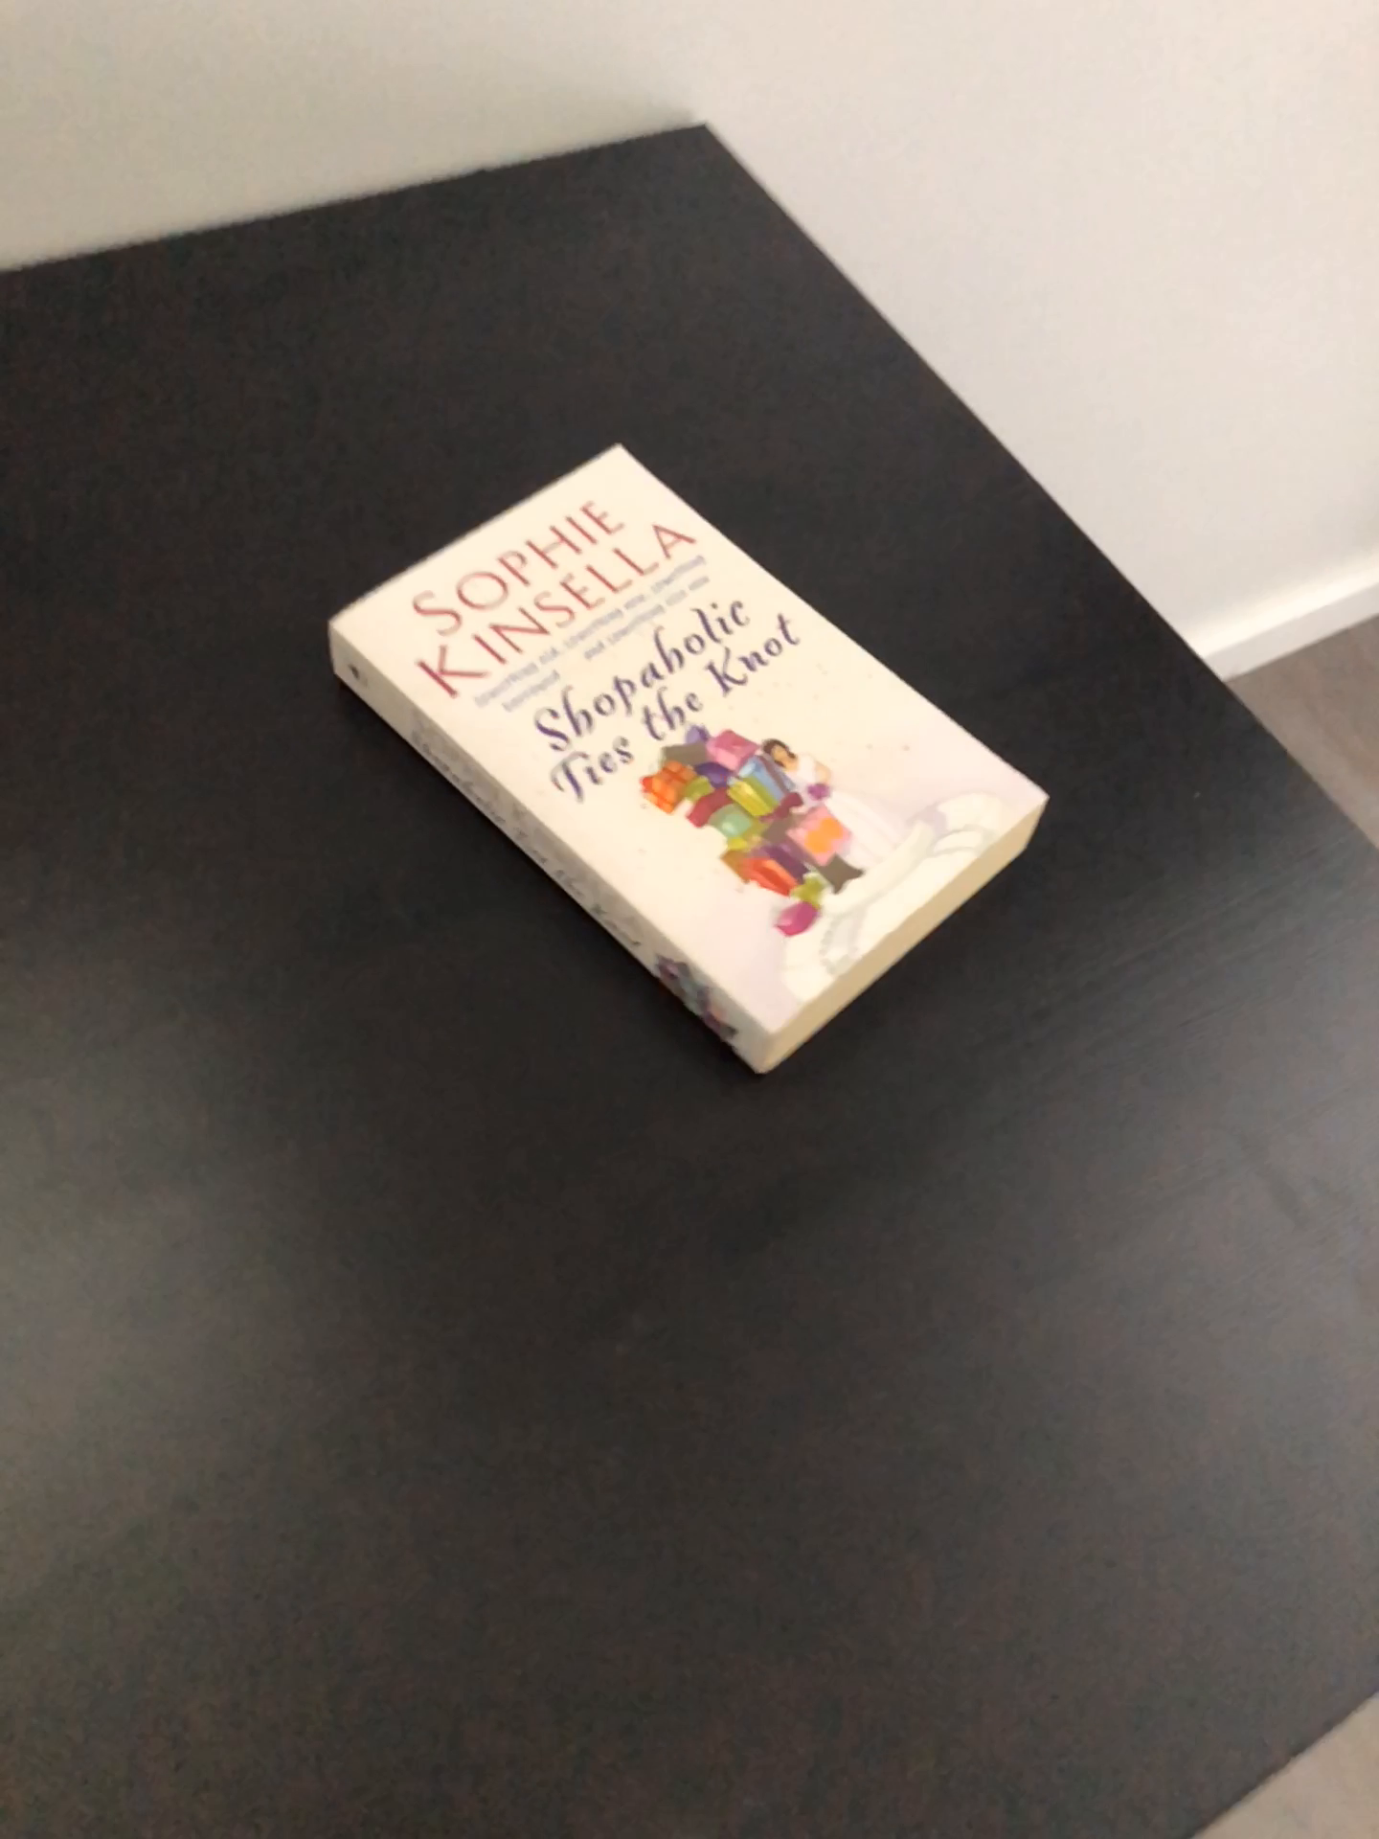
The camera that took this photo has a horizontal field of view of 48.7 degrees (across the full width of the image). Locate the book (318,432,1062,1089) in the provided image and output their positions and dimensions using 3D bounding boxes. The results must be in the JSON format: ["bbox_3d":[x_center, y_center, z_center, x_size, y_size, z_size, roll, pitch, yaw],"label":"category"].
[{"bbox_3d":[-0.002,-0.061,0.490,0.131,0.035,0.200,-39,70,-25],"label":"book"}]
